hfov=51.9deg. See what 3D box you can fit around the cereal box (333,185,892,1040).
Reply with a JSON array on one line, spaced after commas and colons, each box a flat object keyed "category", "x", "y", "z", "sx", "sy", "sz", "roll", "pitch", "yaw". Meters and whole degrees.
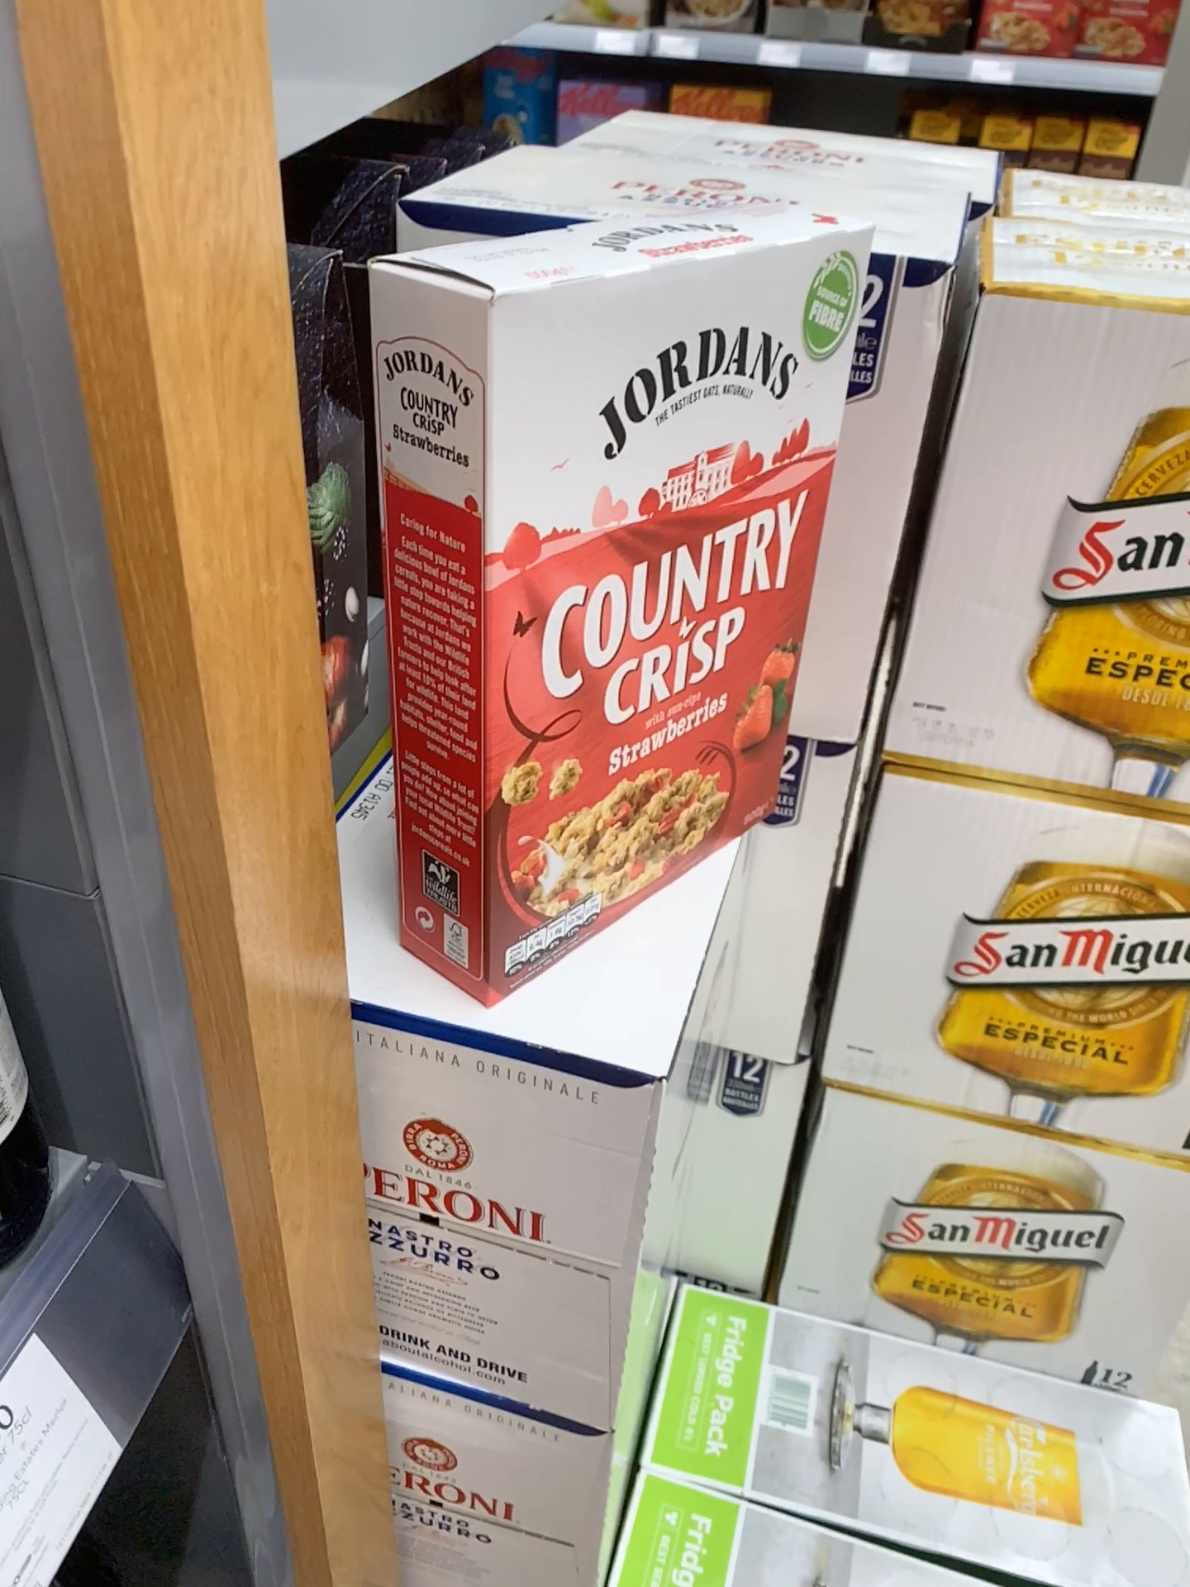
[{"category": "cereal box", "x": 0.010, "y": -0.065, "z": 0.428, "sx": 0.050, "sy": 0.248, "sz": 0.191, "roll": 29, "pitch": 42, "yaw": 32}]
